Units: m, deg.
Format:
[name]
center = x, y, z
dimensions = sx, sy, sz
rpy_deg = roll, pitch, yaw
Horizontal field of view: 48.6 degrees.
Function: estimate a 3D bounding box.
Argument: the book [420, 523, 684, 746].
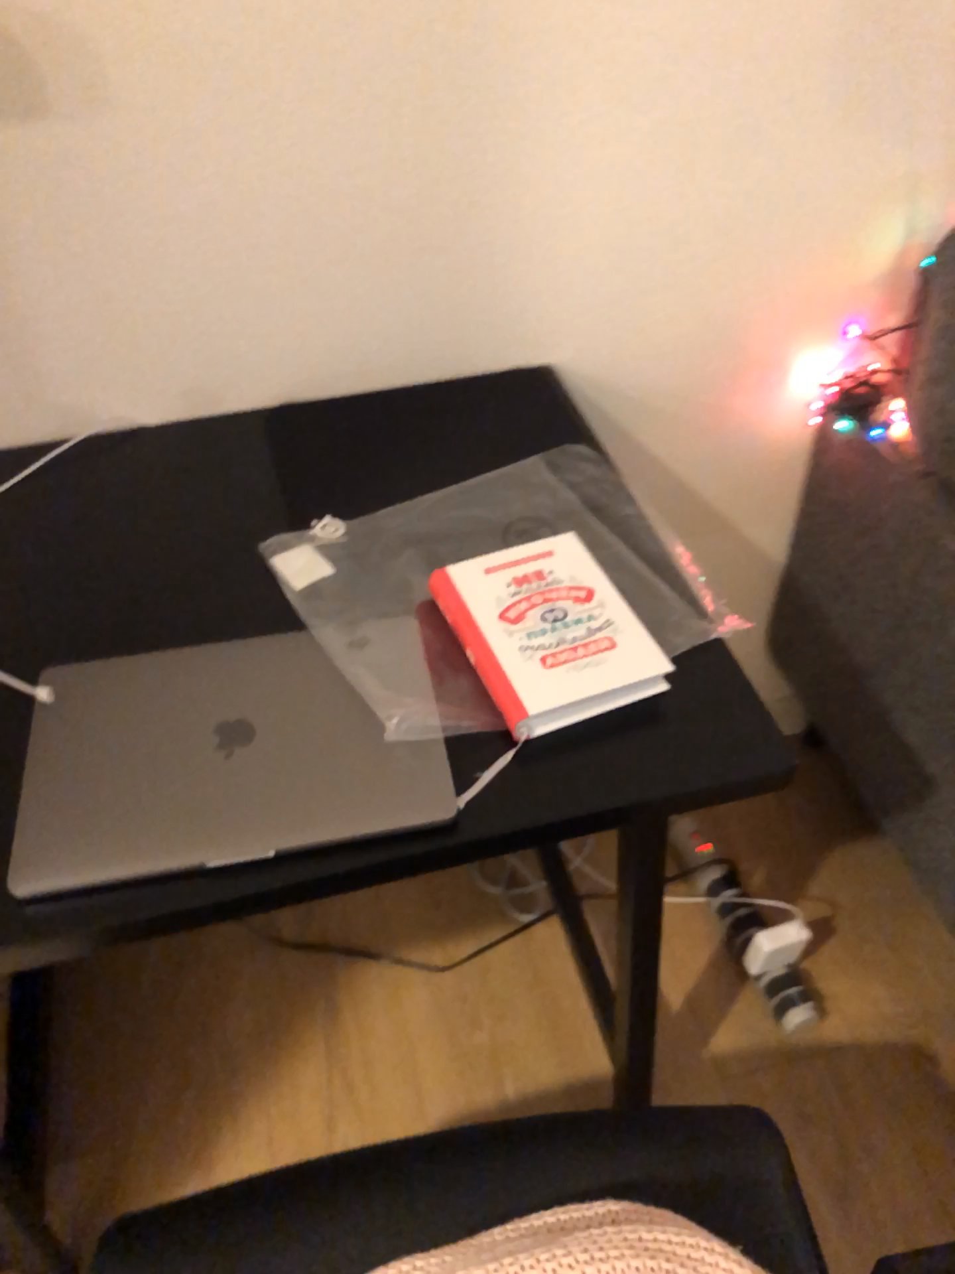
[book]
center = 0.054, -0.010, 0.859
dimensions = 0.140, 0.030, 0.191
rpy_deg = -18, 46, -17
